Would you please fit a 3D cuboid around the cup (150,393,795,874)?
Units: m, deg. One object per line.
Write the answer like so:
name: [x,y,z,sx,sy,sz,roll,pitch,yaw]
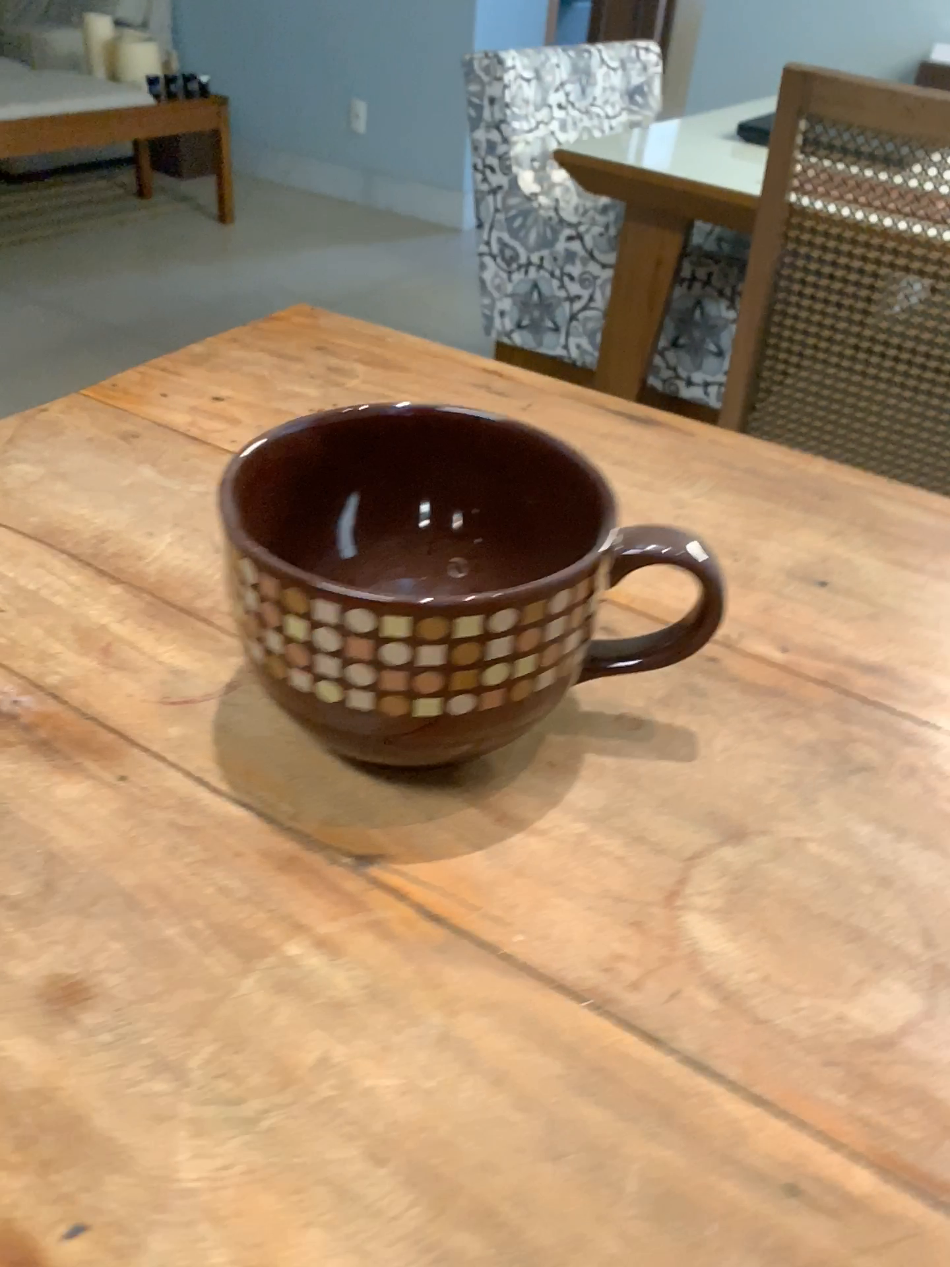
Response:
cup: [0.000,-0.008,0.355,0.180,0.089,0.141,6,36,1]
